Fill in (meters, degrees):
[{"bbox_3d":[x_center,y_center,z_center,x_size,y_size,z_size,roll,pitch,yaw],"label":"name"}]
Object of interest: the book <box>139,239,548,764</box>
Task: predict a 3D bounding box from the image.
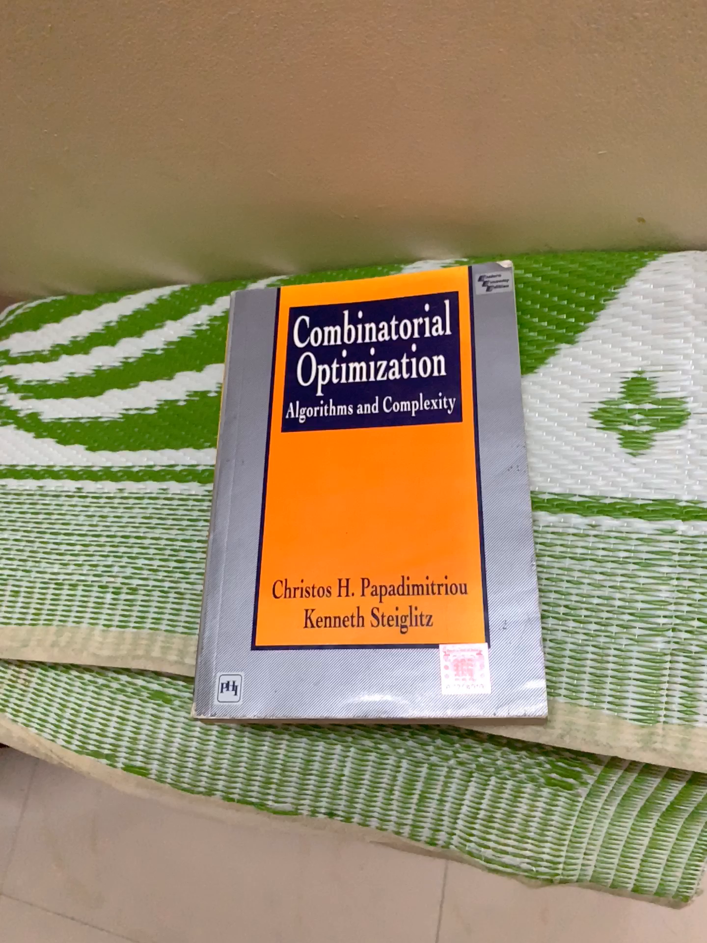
[{"bbox_3d":[-0.003,0.004,0.379,0.170,0.040,0.271,-4,63,9],"label":"book"}]
